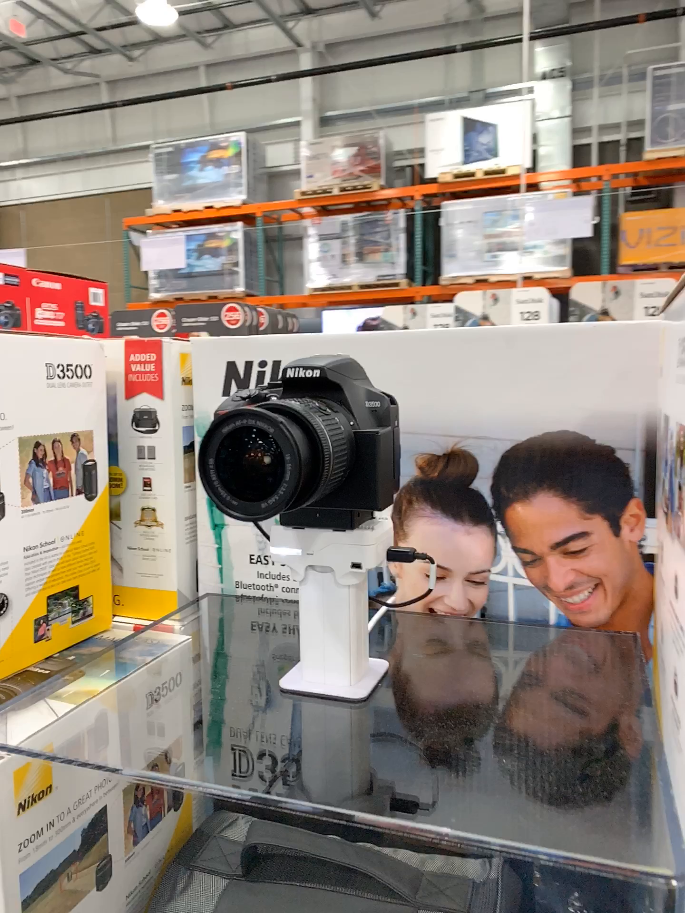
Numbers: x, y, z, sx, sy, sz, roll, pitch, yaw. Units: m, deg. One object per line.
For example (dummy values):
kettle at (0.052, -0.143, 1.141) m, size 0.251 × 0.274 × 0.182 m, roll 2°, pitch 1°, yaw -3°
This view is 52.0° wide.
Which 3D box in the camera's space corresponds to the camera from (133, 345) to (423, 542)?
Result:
camera at (-0.030, -0.016, 0.446) m, size 0.130 × 0.100 × 0.150 m, roll 2°, pitch 7°, yaw 20°
